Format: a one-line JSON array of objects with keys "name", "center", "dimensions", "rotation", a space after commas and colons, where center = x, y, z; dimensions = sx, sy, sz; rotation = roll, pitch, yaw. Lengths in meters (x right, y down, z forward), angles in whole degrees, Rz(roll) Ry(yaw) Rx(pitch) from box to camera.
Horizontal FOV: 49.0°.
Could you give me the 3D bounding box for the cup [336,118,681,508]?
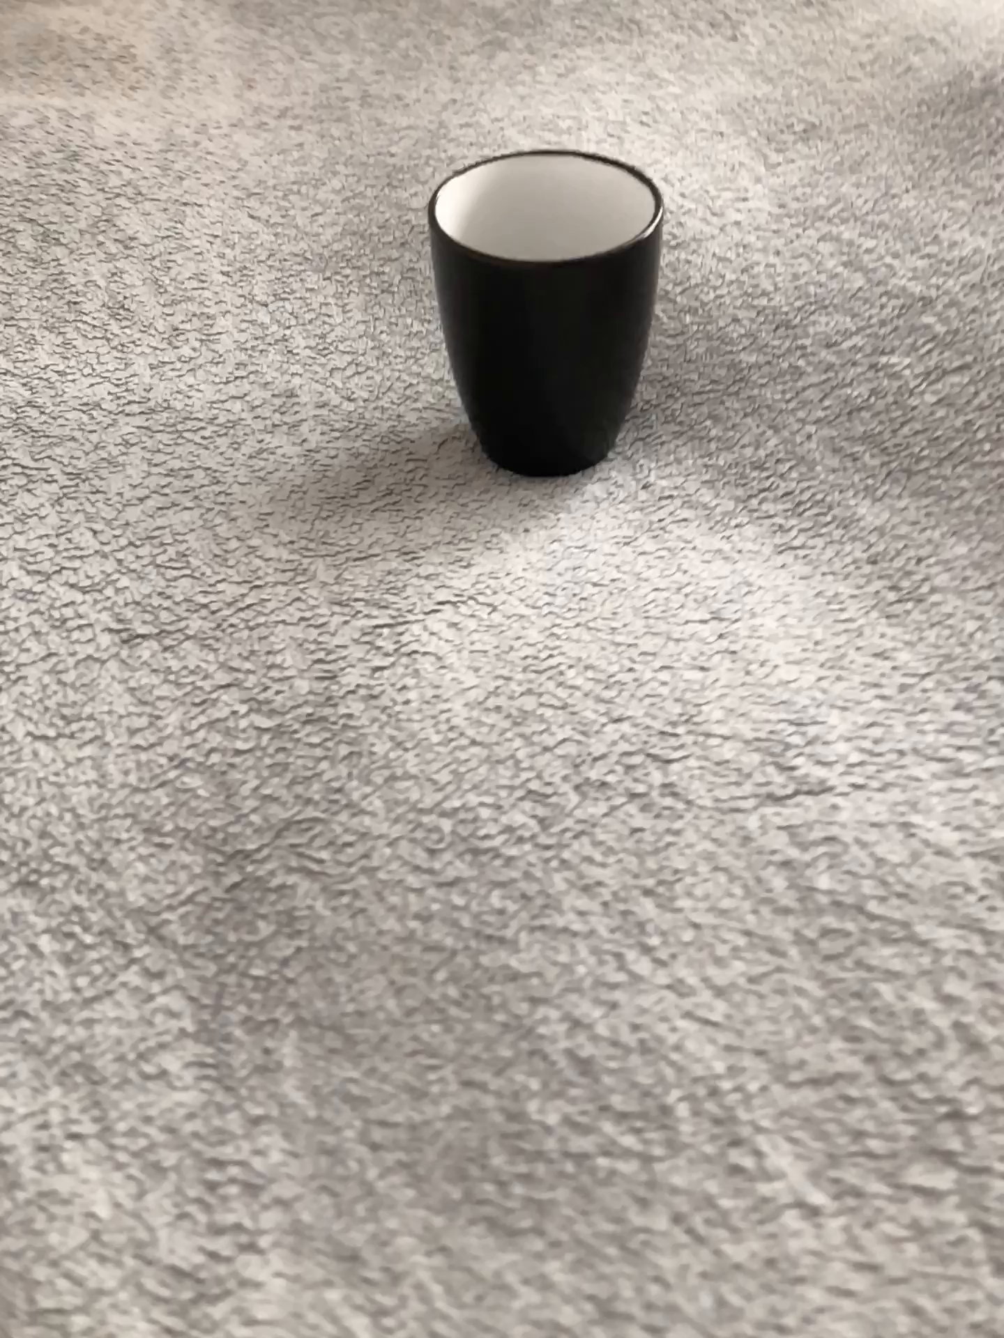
[{"name": "cup", "center": [0.010, -0.146, 0.441], "dimensions": [0.090, 0.089, 0.128], "rotation": [12, 49, 17]}]
